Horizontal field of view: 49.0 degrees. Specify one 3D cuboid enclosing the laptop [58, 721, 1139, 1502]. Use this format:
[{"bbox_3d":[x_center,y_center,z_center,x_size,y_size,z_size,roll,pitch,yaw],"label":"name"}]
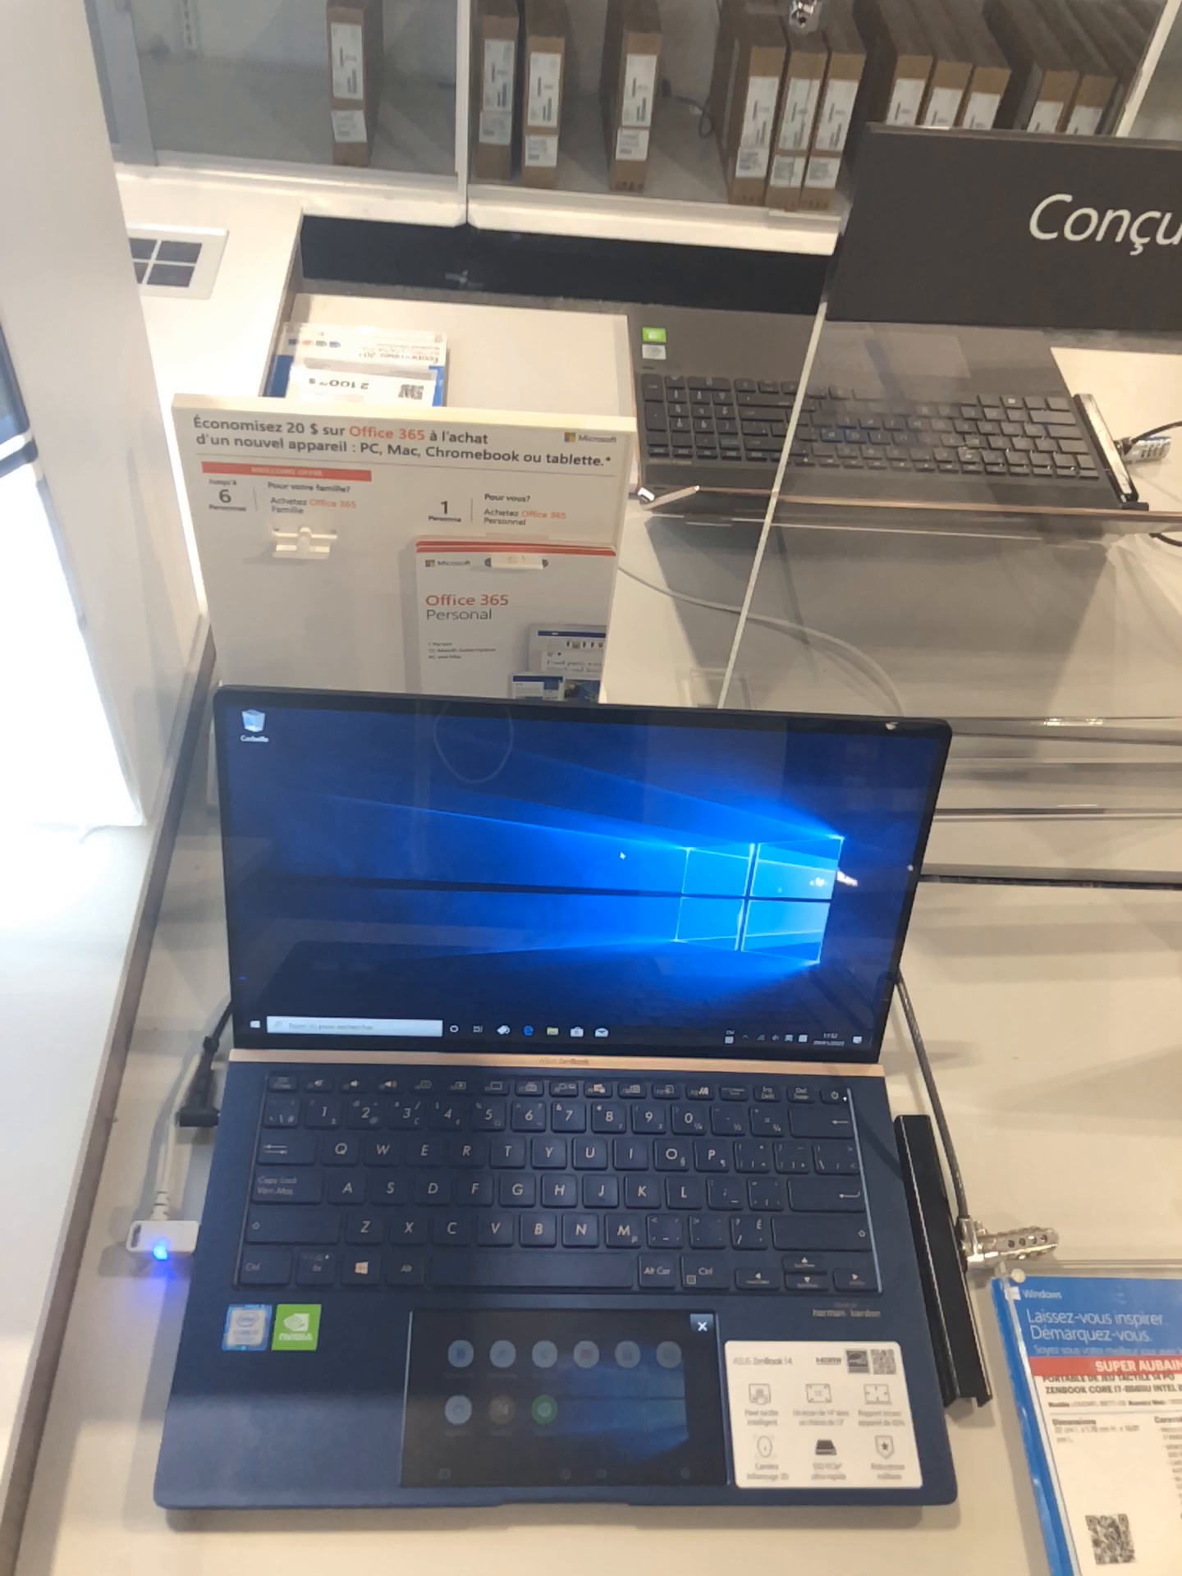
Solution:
[{"bbox_3d":[-0.005,0.128,0.524,0.308,0.179,0.253,2,48,-5],"label":"laptop"}]
